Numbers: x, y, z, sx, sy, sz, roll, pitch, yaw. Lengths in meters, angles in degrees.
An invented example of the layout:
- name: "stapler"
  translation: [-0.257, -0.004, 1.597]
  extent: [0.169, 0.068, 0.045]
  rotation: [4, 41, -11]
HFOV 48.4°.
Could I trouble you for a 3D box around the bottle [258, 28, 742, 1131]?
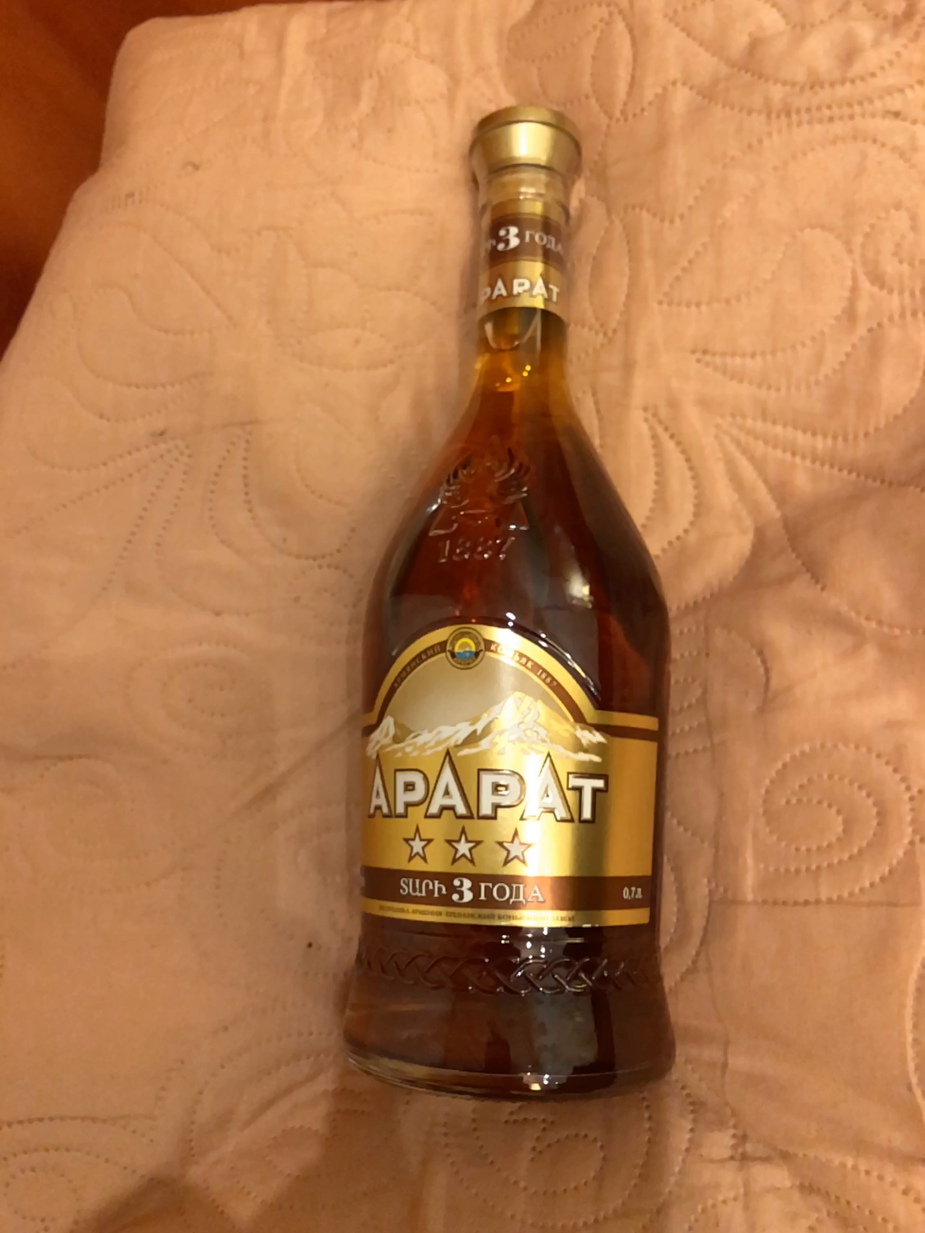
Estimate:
- name: "bottle"
  translation: [0.017, -0.012, 0.288]
  extent: [0.090, 0.090, 0.258]
  rotation: [-6, 73, 26]
